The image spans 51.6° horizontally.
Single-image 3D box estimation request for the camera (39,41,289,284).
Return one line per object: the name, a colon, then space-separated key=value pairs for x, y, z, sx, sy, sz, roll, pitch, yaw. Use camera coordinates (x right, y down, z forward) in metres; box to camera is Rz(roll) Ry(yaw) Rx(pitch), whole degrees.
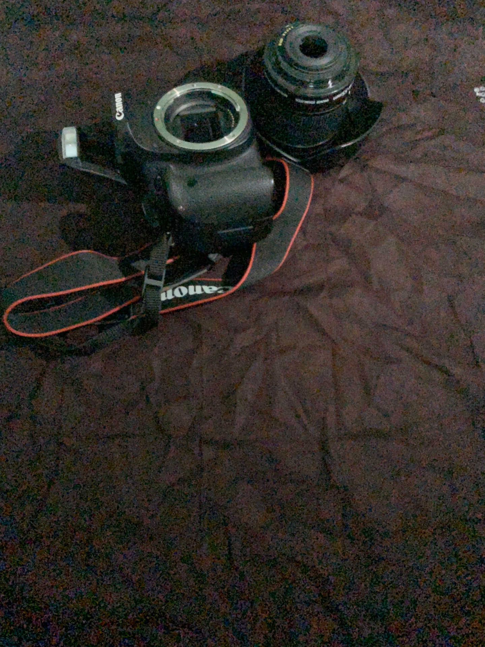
camera: x=-0.062 y=-0.126 z=0.382 sx=0.150 sy=0.082 sz=0.147 roll=-10 pitch=60 yaw=-9
